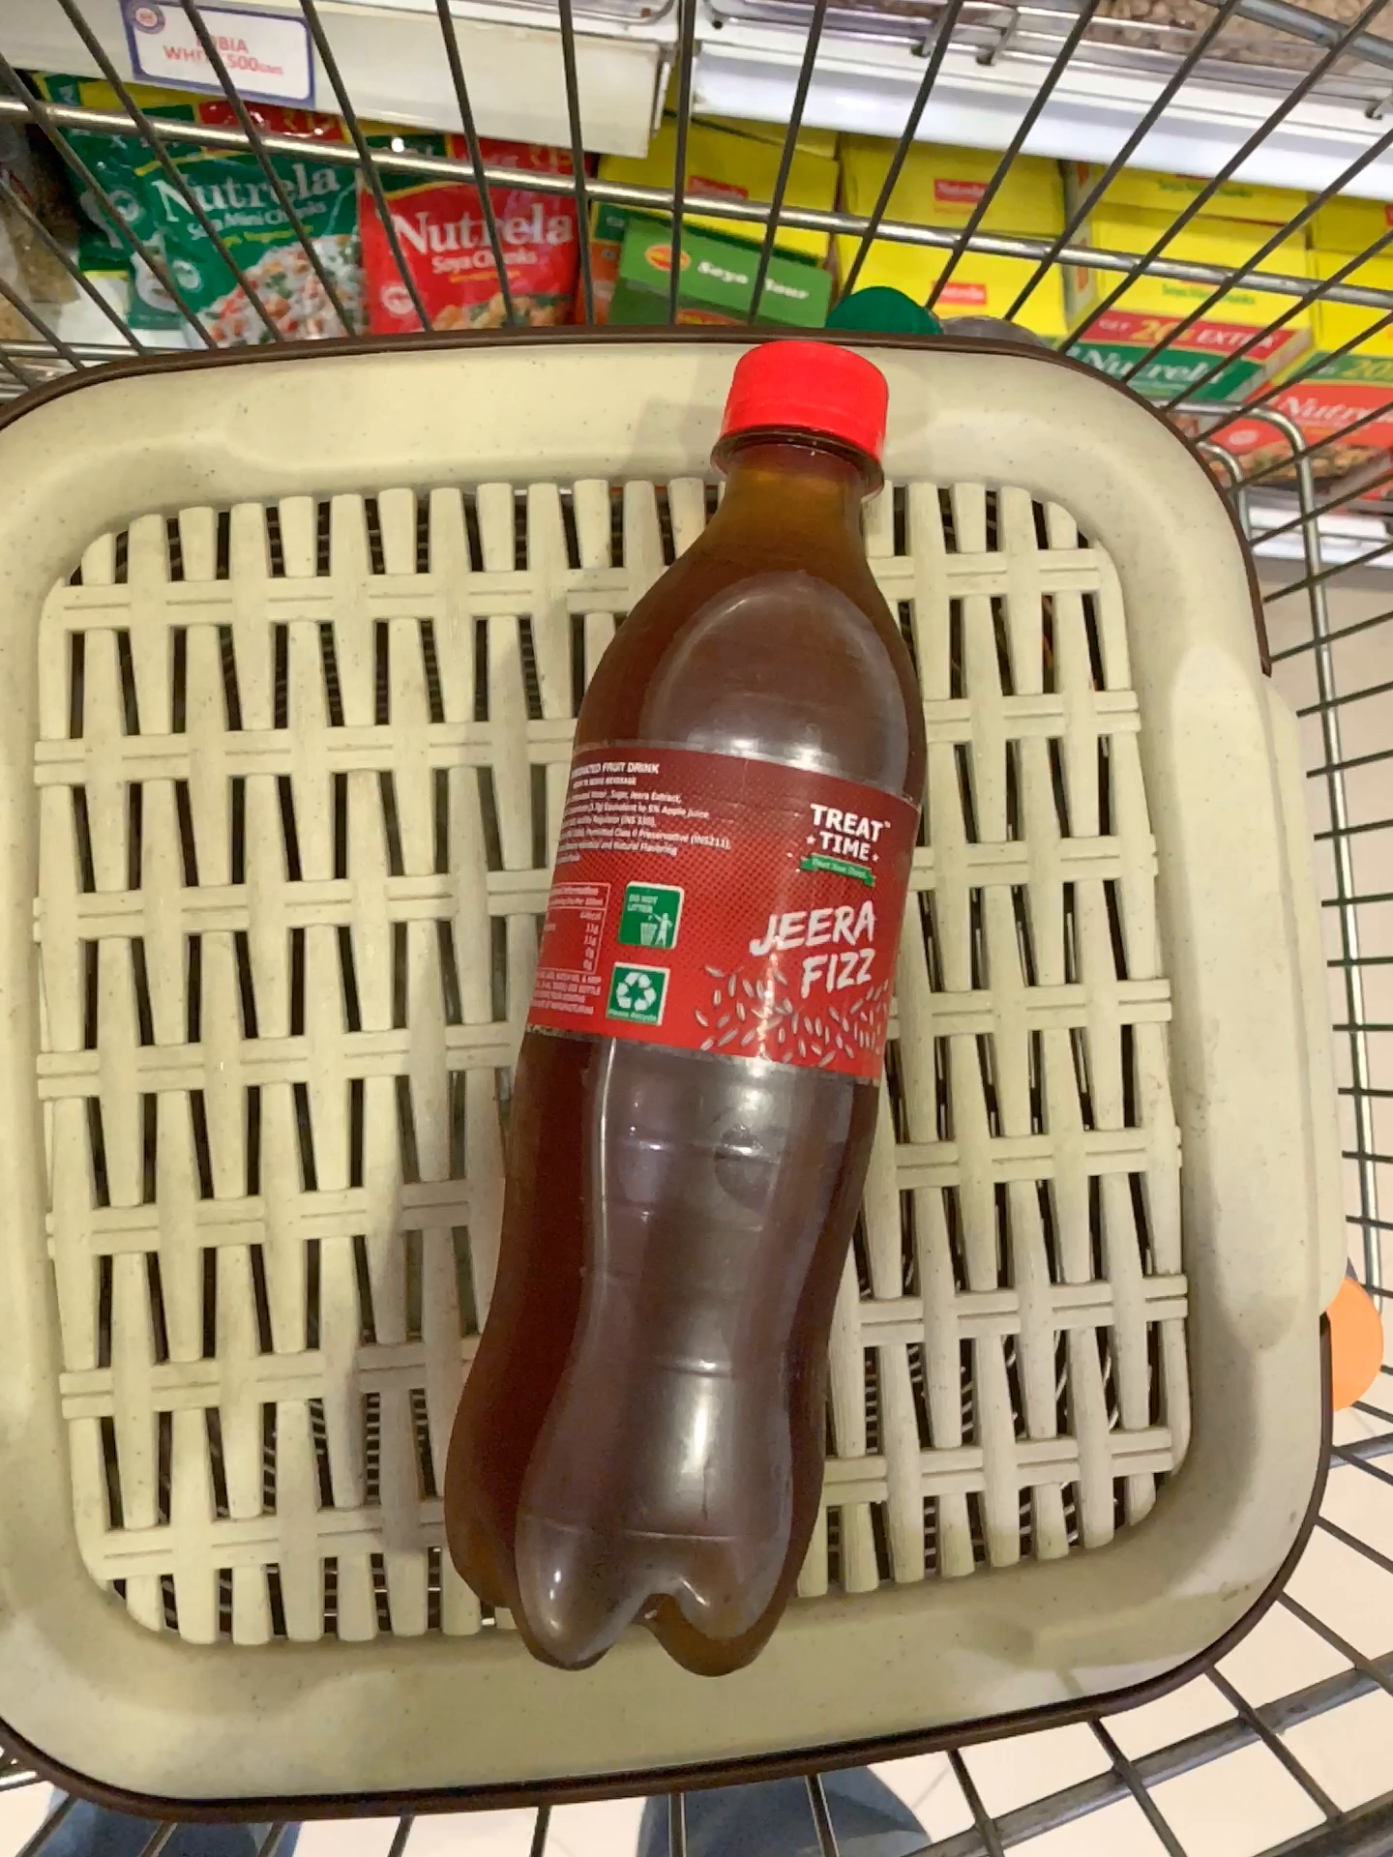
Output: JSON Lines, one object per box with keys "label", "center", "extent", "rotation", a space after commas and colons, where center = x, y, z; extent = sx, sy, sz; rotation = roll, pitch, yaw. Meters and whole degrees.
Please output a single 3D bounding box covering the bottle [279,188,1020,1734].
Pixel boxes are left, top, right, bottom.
{"label": "bottle", "center": [-0.008, 0.006, 0.261], "extent": [0.080, 0.070, 0.230], "rotation": [11, 83, -31]}
